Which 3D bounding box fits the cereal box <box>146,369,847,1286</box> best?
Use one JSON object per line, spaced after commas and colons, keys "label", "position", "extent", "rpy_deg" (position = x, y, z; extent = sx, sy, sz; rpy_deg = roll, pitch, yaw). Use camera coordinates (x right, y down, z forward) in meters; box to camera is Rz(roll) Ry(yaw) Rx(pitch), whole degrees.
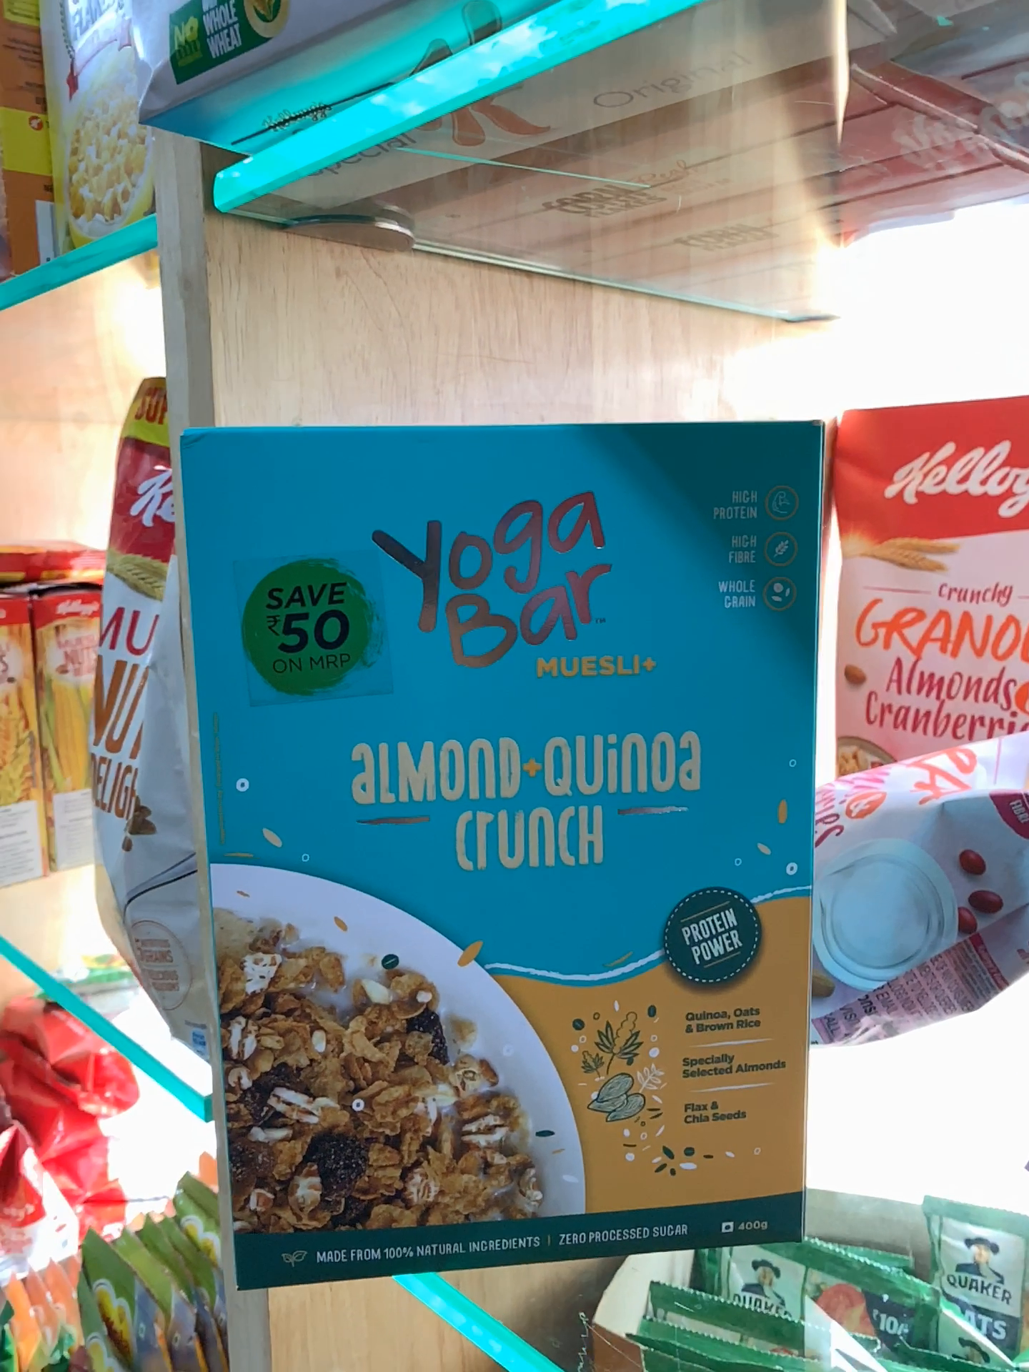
{"label": "cereal box", "position": [-0.003, 0.032, 0.287], "extent": [0.160, 0.219, 0.060], "rpy_deg": [-2, 8, -6]}
